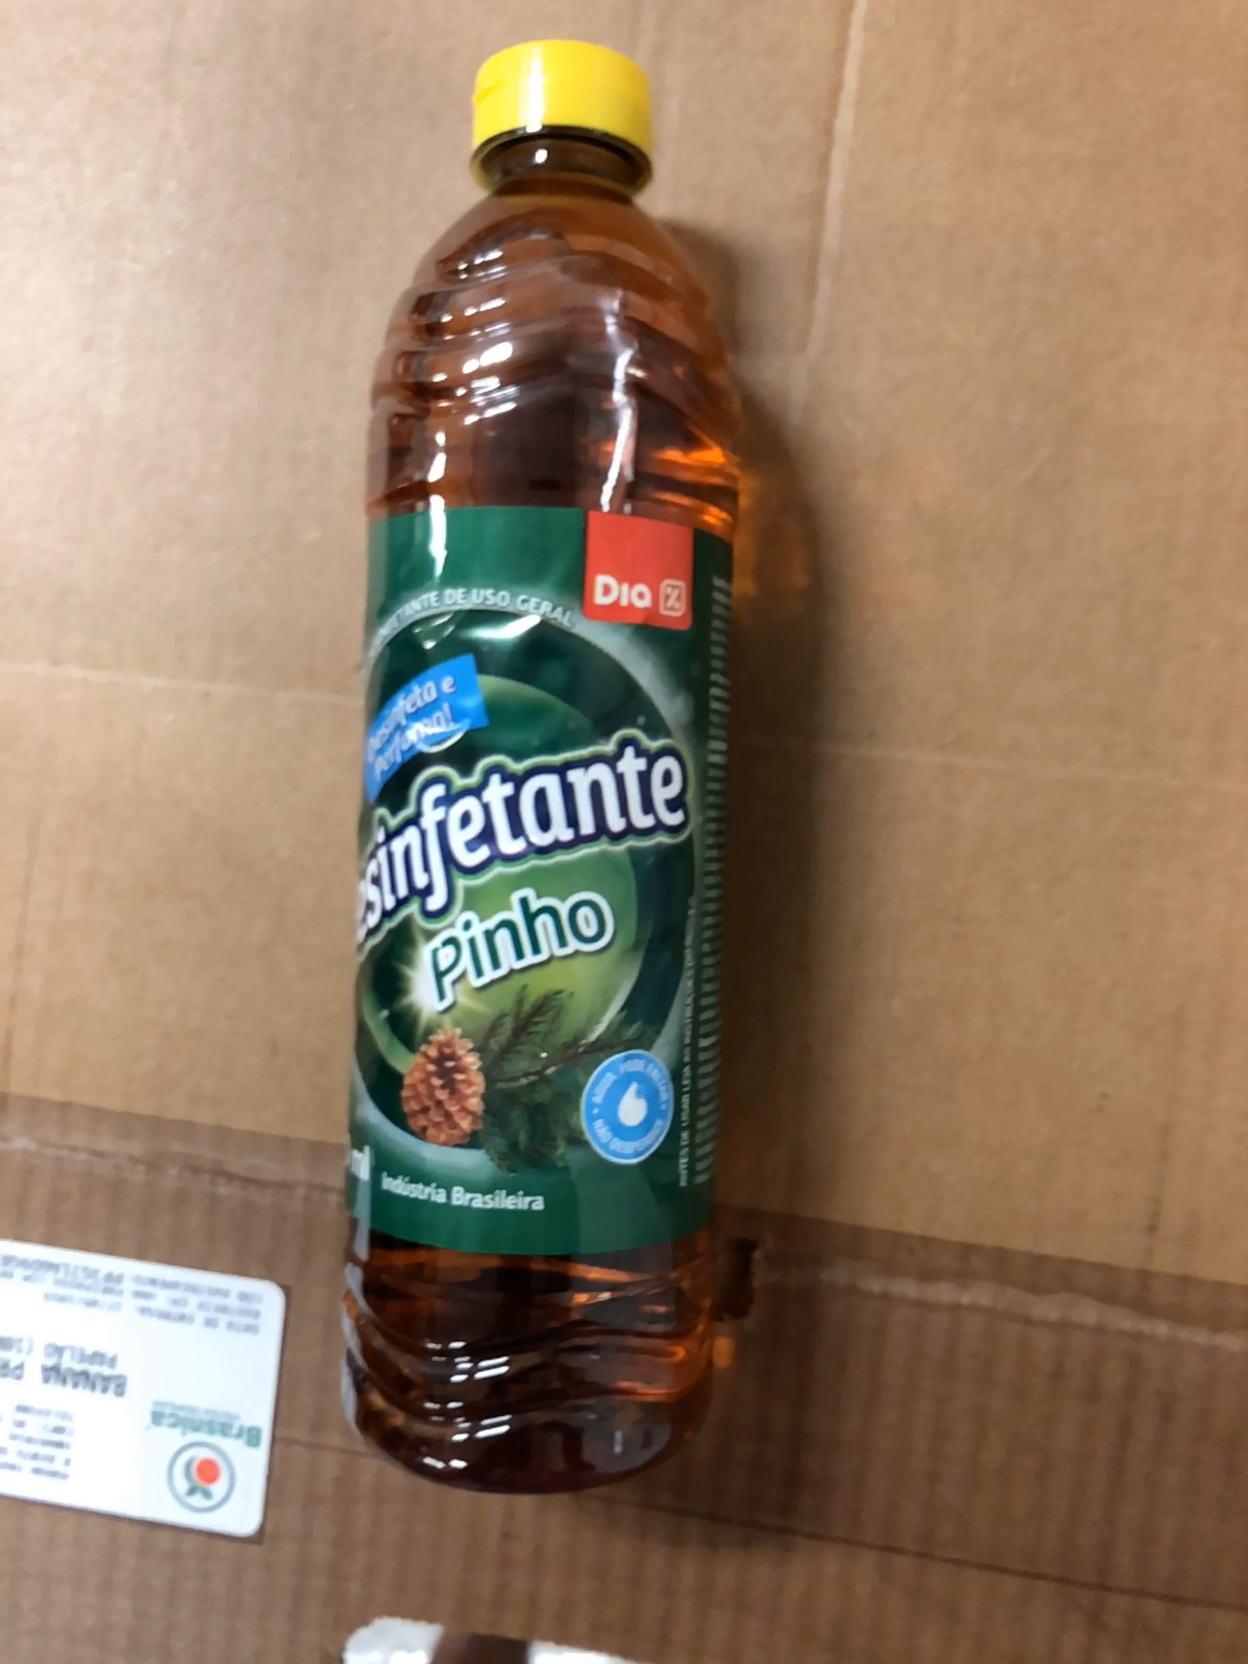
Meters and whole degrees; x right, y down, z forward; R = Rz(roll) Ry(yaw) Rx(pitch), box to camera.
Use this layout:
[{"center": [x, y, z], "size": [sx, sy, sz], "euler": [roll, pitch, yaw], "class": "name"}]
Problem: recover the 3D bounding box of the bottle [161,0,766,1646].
[{"center": [-0.019, -0.010, 0.219], "size": [0.060, 0.070, 0.220], "euler": [1, 87, 21], "class": "bottle"}]
